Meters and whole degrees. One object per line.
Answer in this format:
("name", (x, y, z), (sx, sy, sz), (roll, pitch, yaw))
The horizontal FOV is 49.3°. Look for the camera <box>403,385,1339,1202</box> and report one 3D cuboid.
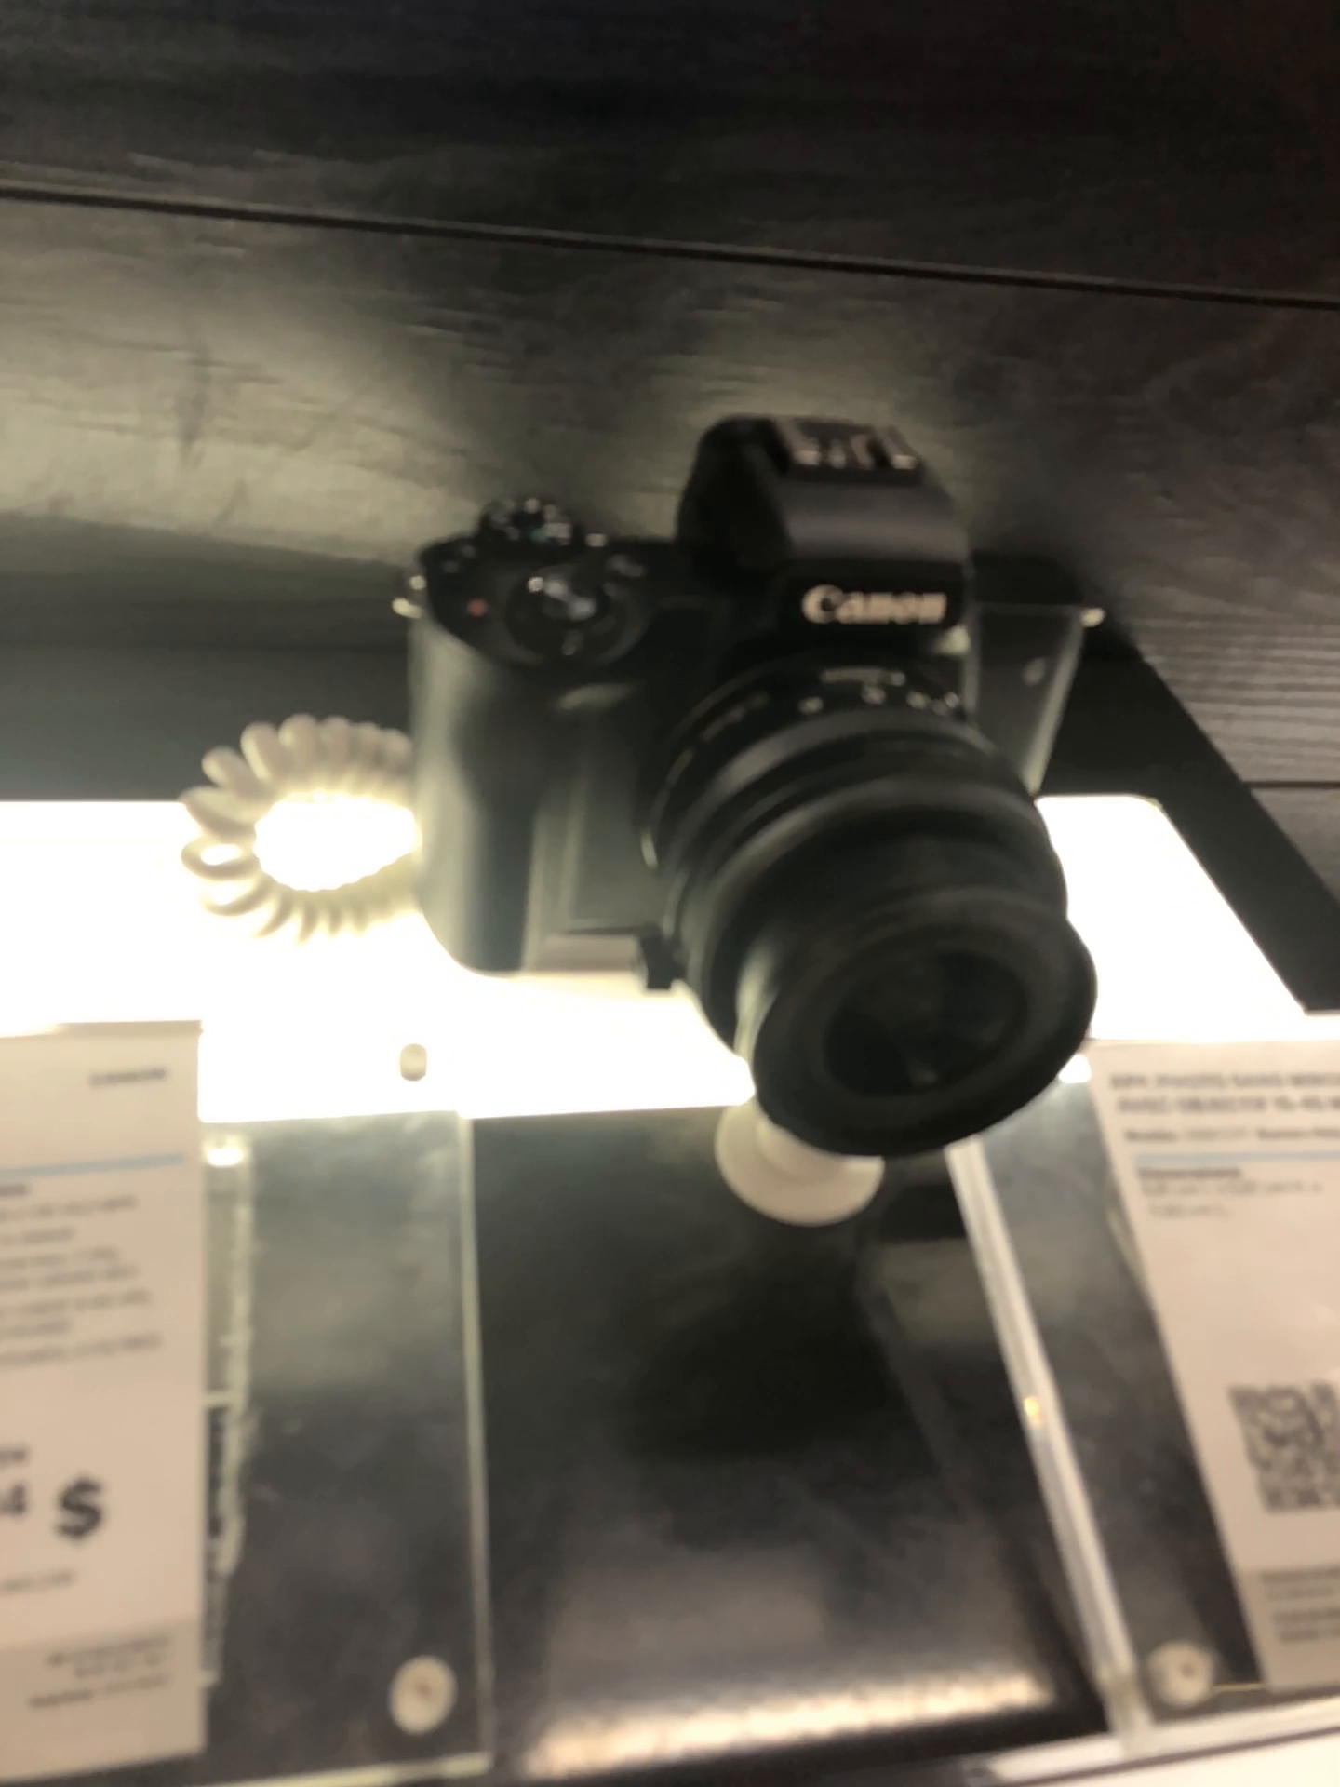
("camera", (0.018, -0.021, 0.246), (0.119, 0.089, 0.101), (-1, 37, -13))
